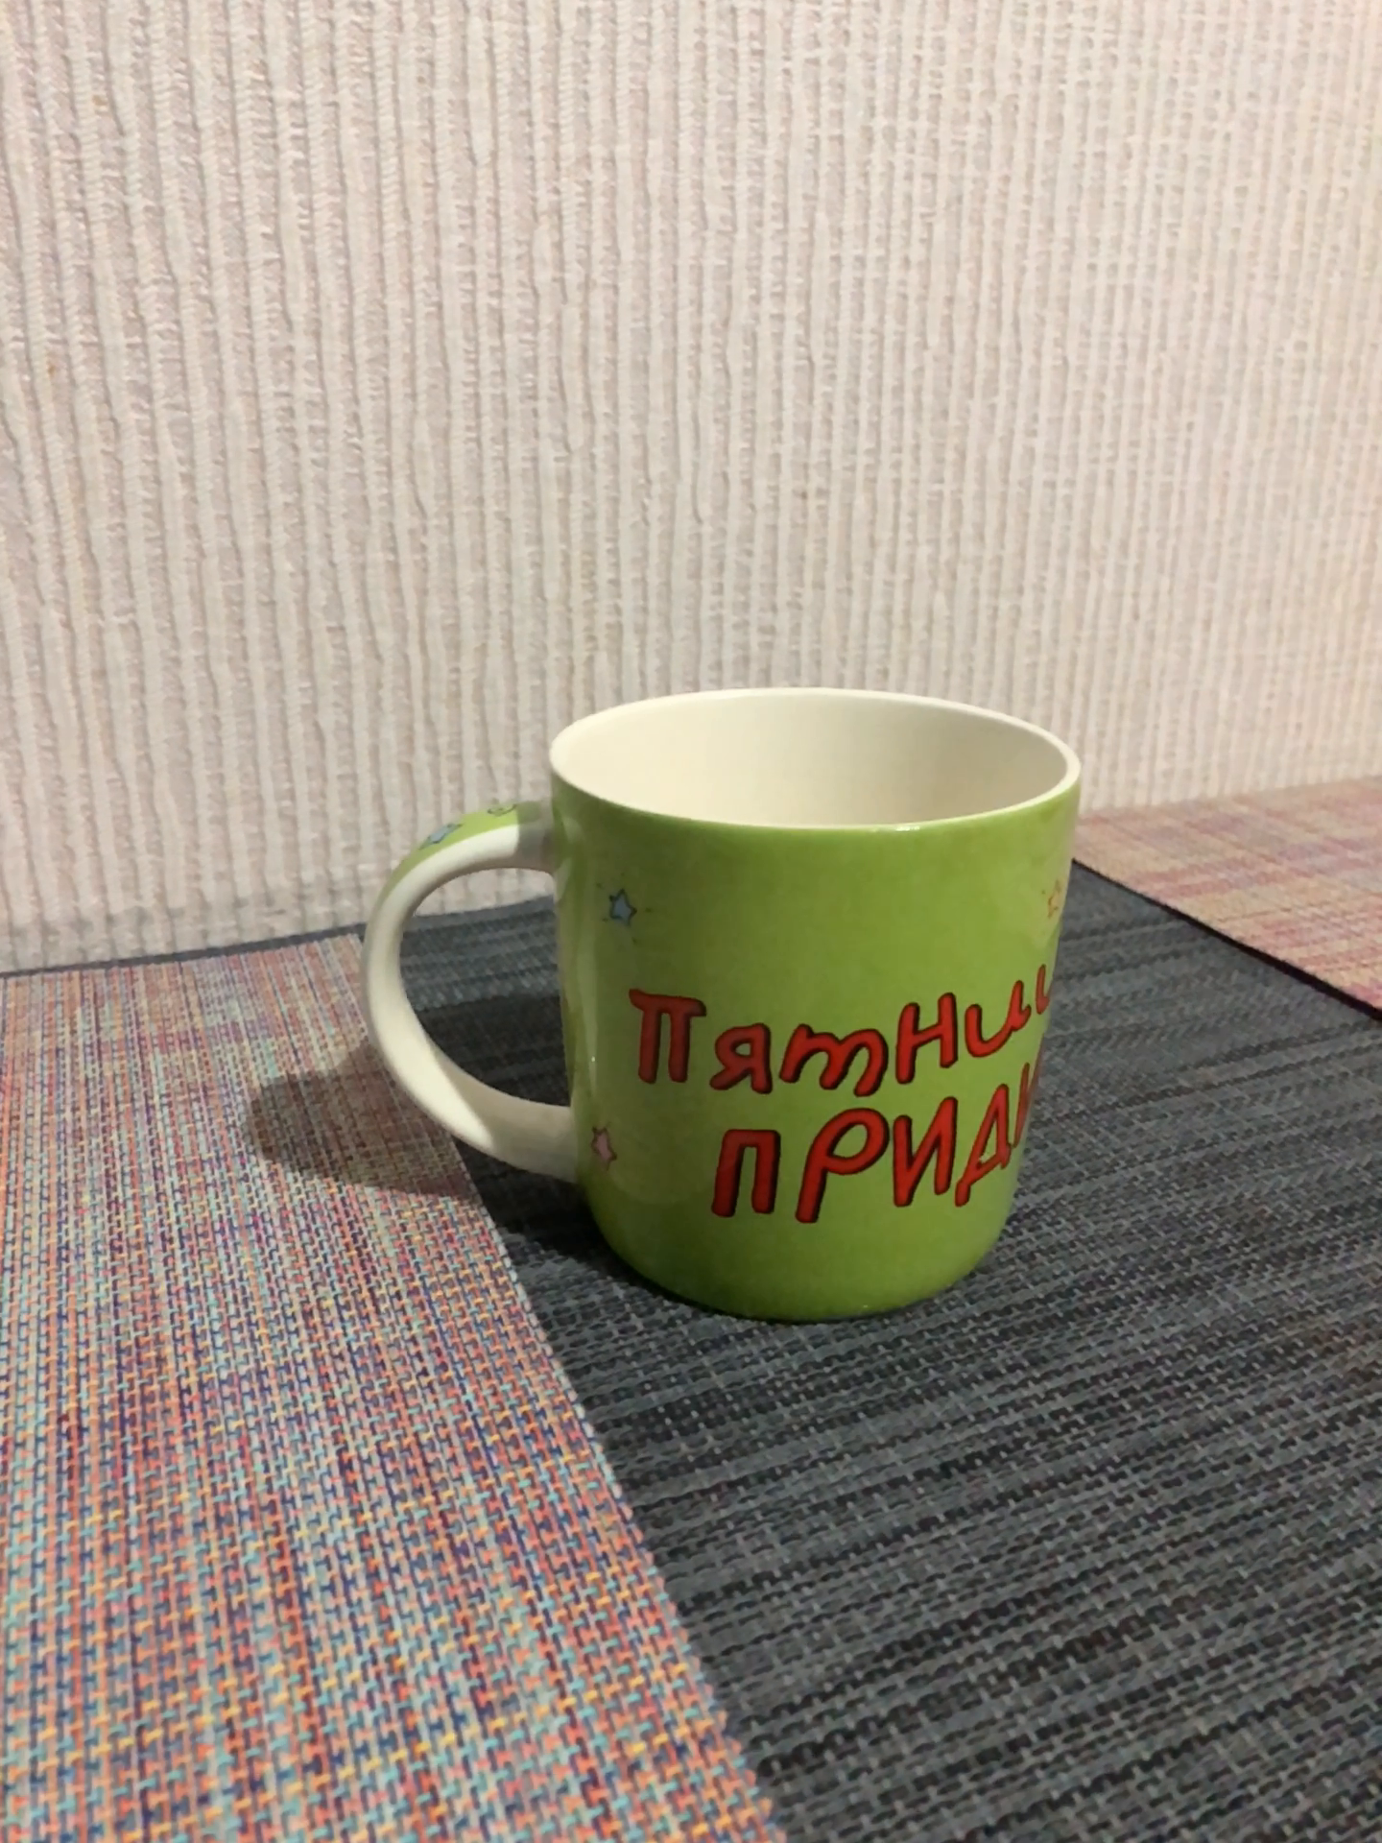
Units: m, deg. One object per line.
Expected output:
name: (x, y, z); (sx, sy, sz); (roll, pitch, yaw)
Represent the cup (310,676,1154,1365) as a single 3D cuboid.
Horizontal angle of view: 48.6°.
cup: (0.002, 0.010, 0.263); (0.115, 0.084, 0.090); (-2, 21, -6)
